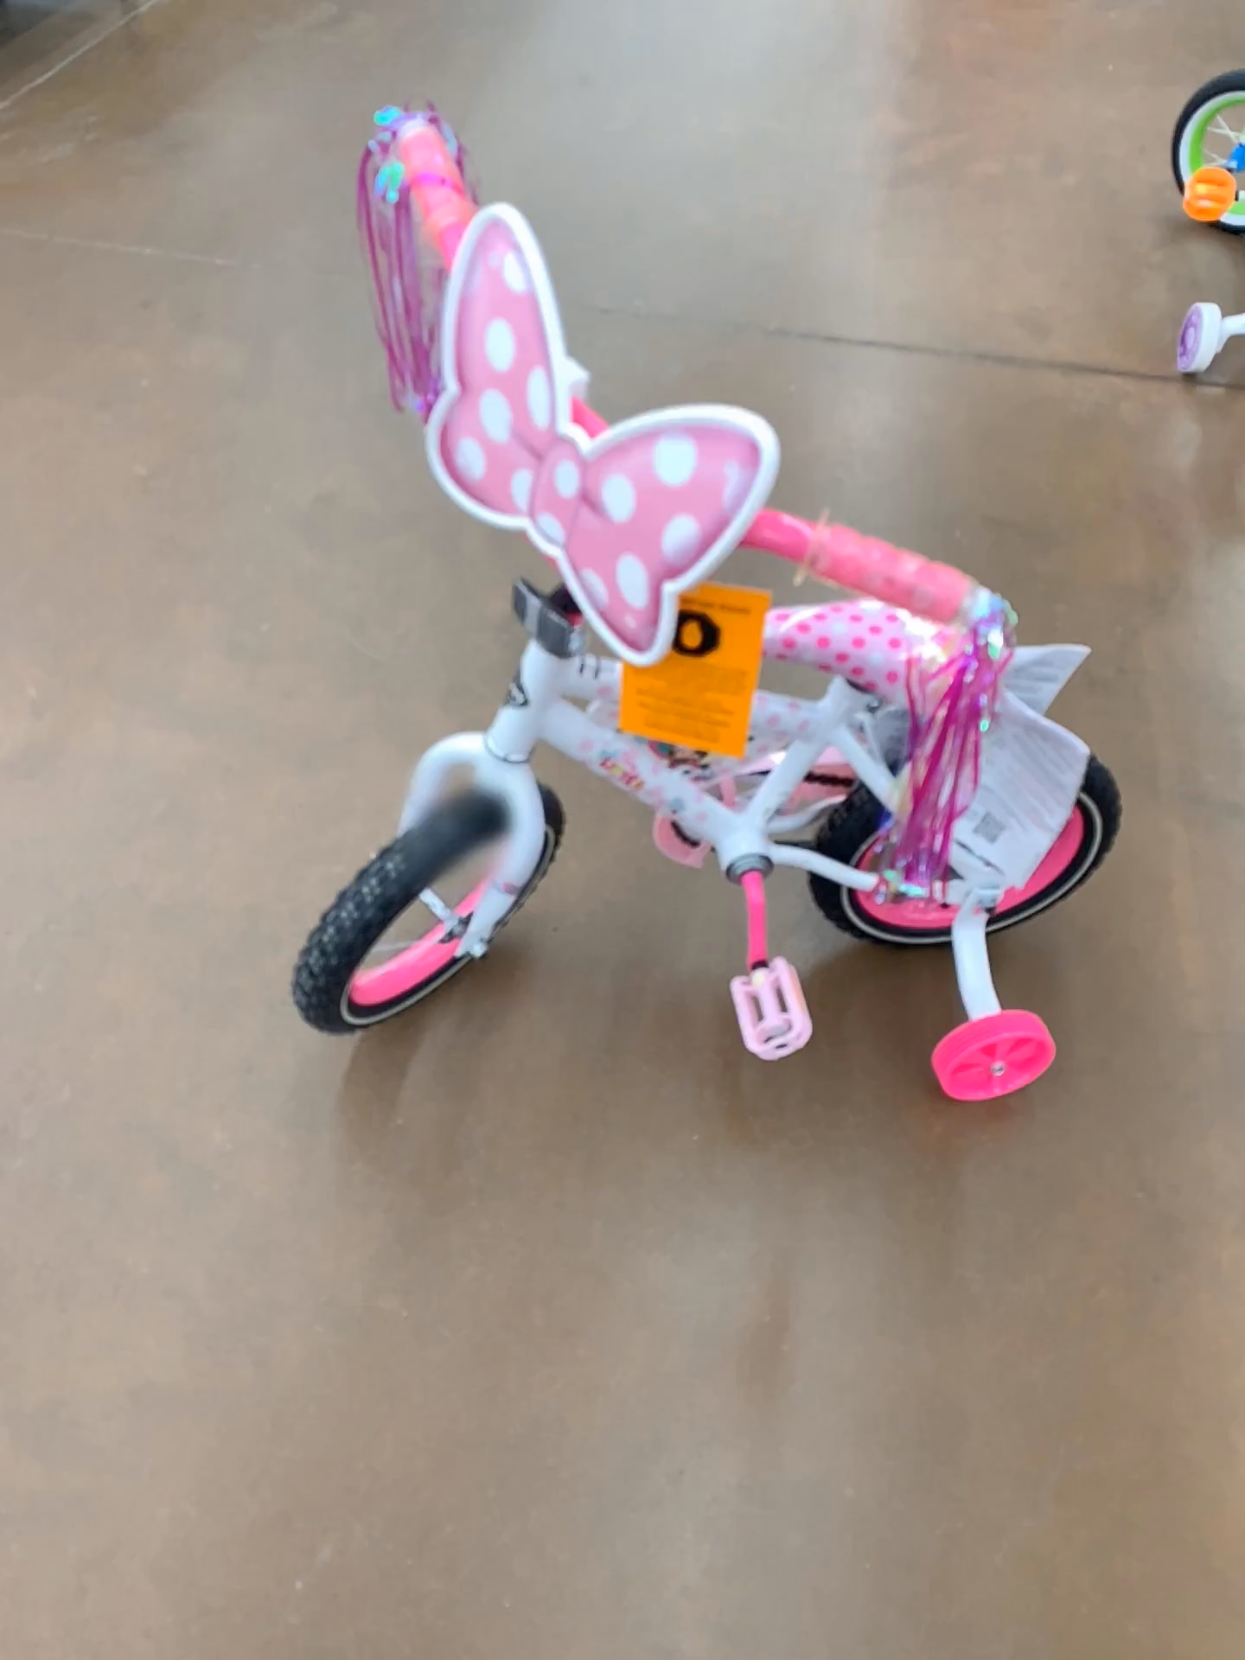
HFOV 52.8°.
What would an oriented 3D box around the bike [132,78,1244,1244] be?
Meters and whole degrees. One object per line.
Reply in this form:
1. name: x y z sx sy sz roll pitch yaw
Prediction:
1. bike: 0.081 -0.117 1.001 0.724 0.648 0.503 -11 50 -9
